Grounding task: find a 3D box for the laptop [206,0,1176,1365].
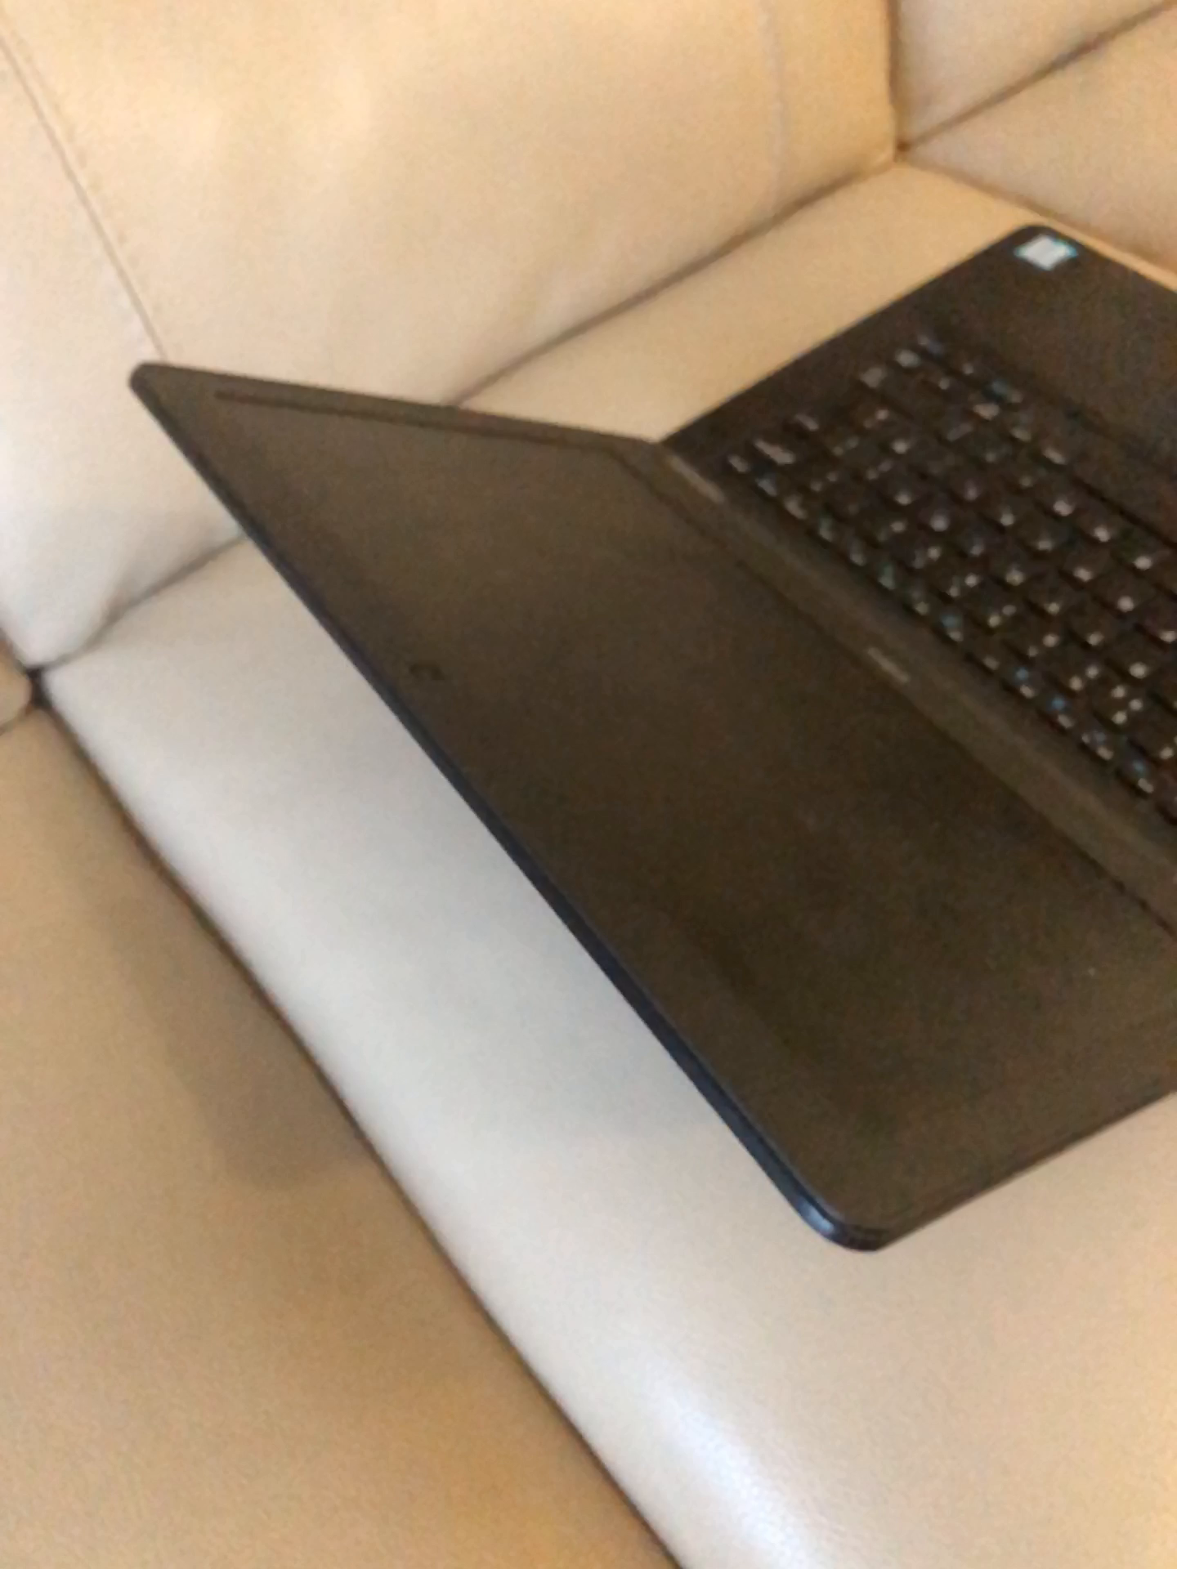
[{"bbox_3d":[0.123,-0.080,0.415,0.375,0.125,0.307,-34,57,-12],"label":"laptop"}]
